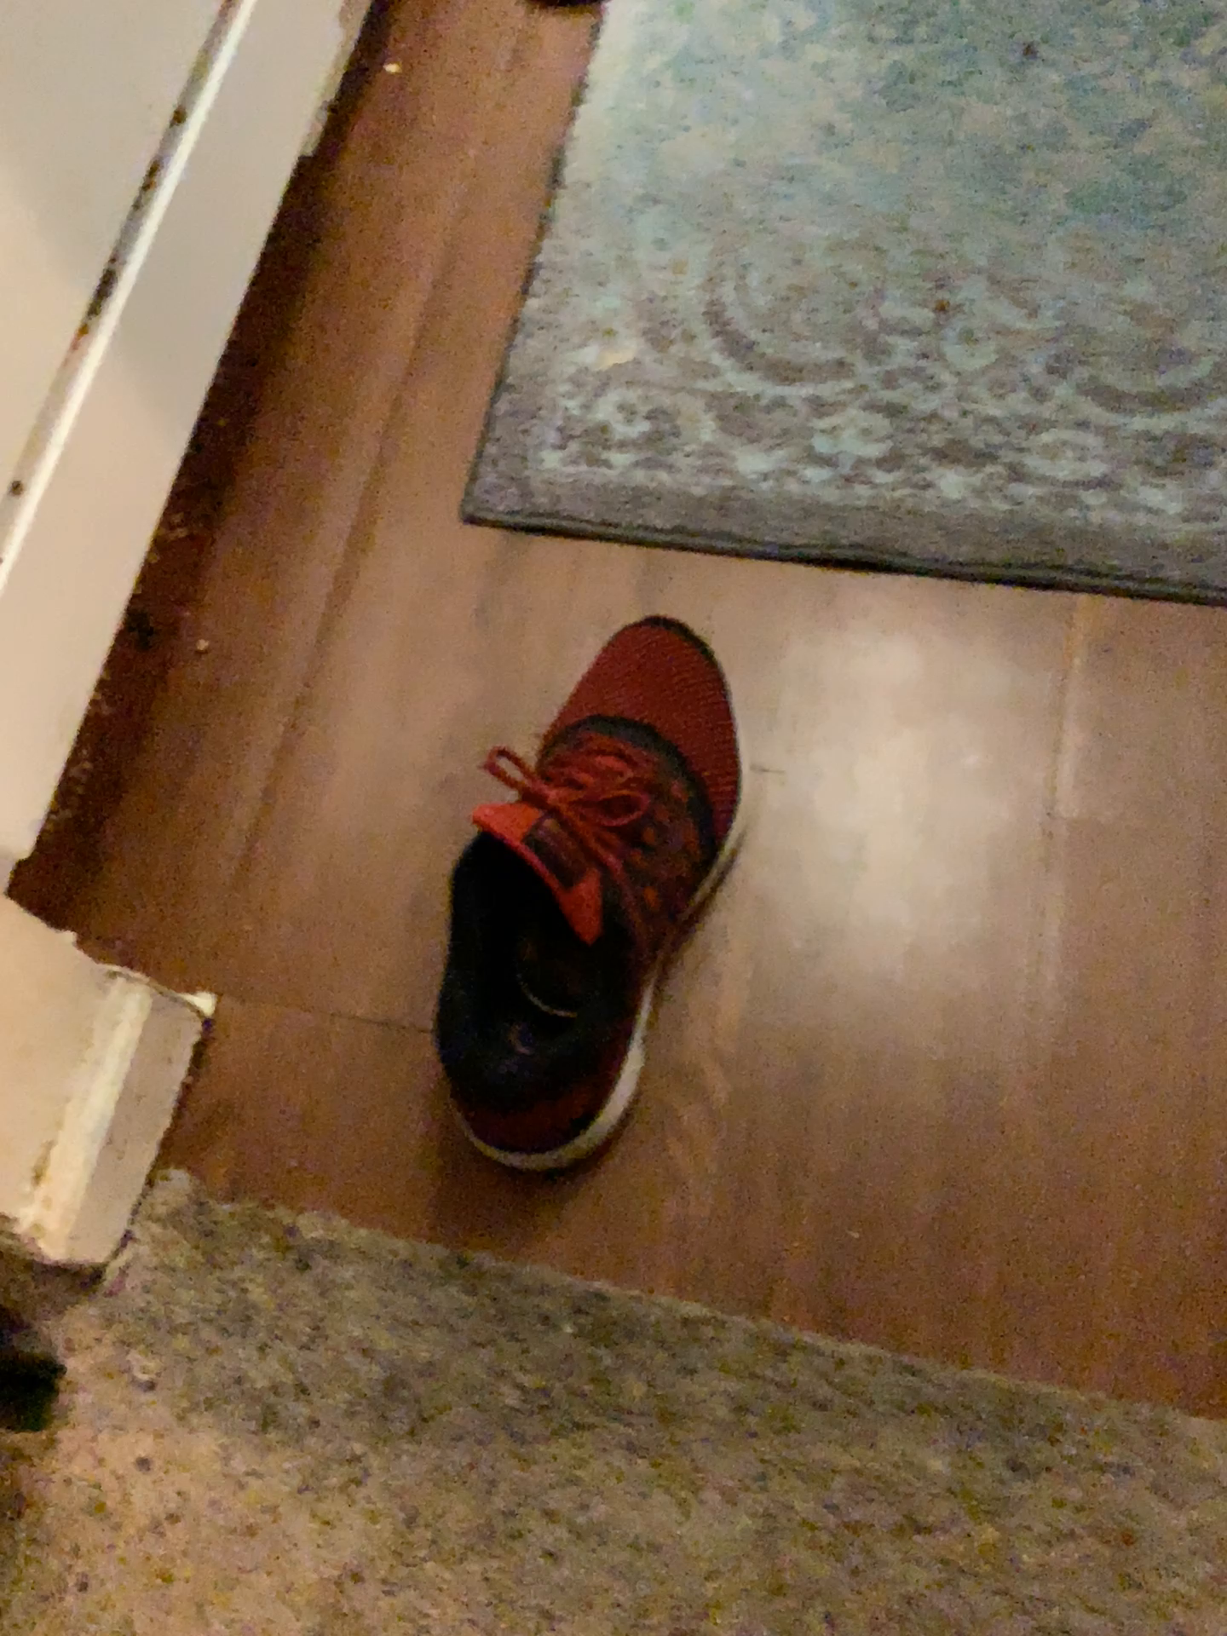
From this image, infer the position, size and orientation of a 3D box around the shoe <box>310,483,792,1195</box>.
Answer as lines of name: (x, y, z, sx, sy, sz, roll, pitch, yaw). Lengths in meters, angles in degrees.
shoe: (-0.015, 0.010, 0.670, 0.130, 0.140, 0.300, 14, 69, 11)
